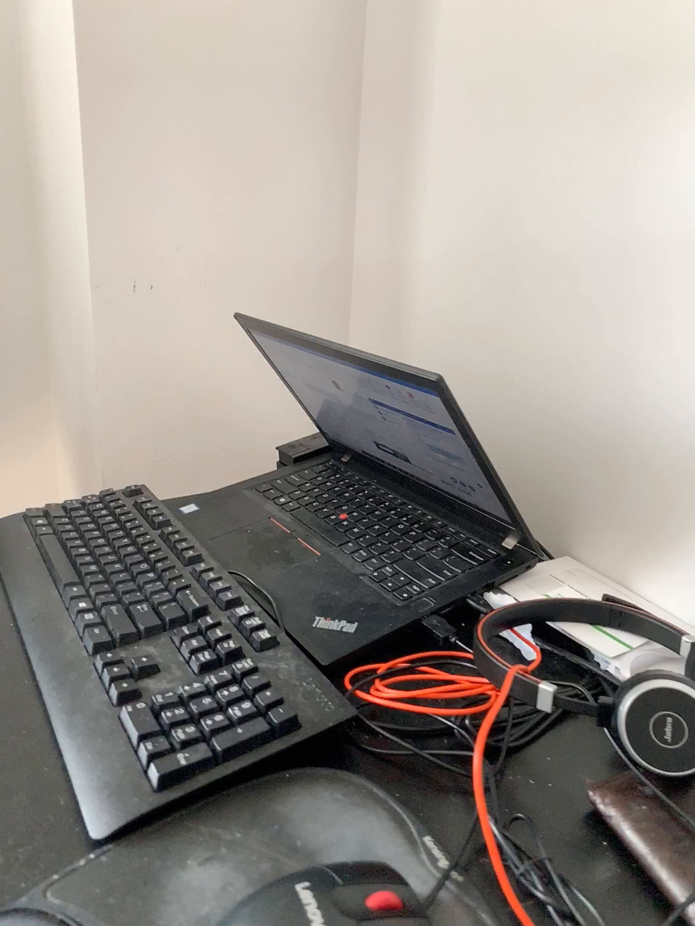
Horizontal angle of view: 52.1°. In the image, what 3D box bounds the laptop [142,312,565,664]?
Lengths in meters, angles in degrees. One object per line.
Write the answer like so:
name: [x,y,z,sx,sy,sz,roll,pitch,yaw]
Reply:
laptop: [-0.019,-0.015,0.681,0.237,0.172,0.335,-16,26,-31]
